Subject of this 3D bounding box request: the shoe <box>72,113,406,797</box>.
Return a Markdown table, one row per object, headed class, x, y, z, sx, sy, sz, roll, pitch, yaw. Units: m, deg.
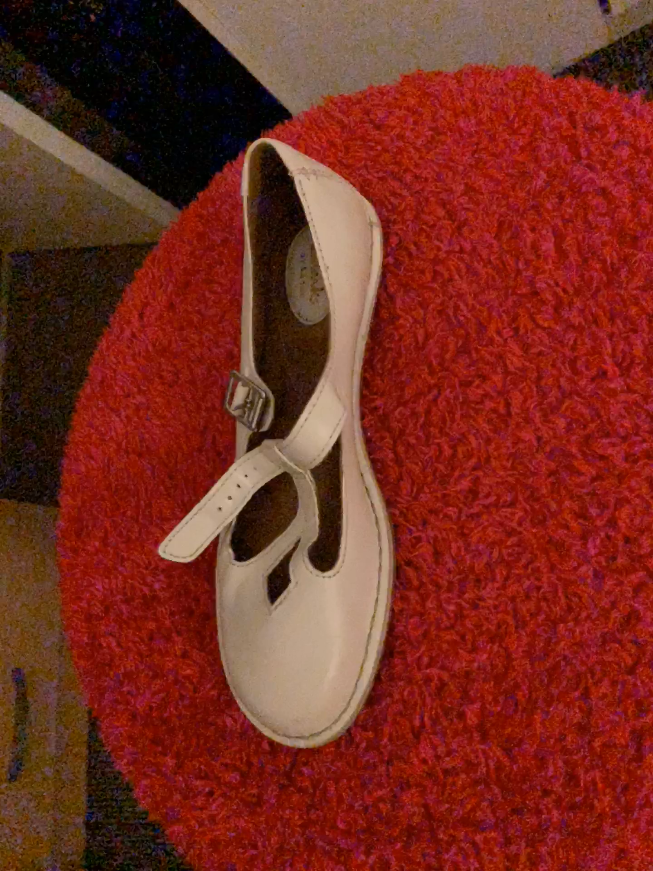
| class | x | y | z | sx | sy | sz | roll | pitch | yaw |
| --- | --- | --- | --- | --- | --- | --- | --- | --- | --- |
| shoe | -0.032 | 0.006 | 0.310 | 0.100 | 0.090 | 0.261 | -11 | 70 | 33 |
